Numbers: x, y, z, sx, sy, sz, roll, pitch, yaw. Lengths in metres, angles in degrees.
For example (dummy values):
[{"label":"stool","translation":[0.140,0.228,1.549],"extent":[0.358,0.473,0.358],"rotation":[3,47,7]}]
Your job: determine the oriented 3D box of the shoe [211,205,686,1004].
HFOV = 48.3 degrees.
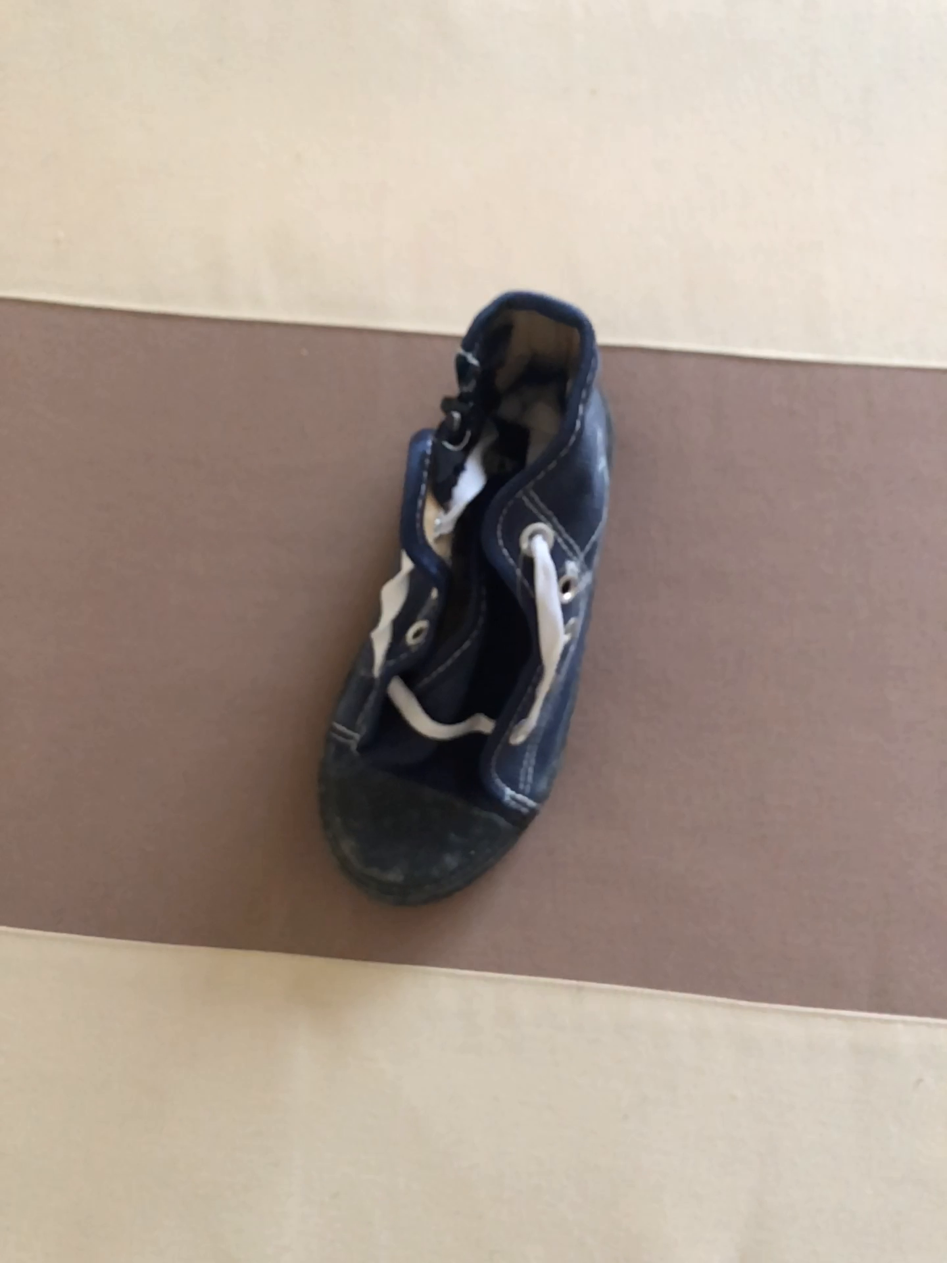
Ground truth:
[{"label":"shoe","translation":[-0.004,-0.007,0.332],"extent":[0.090,0.100,0.200],"rotation":[11,89,3]}]
